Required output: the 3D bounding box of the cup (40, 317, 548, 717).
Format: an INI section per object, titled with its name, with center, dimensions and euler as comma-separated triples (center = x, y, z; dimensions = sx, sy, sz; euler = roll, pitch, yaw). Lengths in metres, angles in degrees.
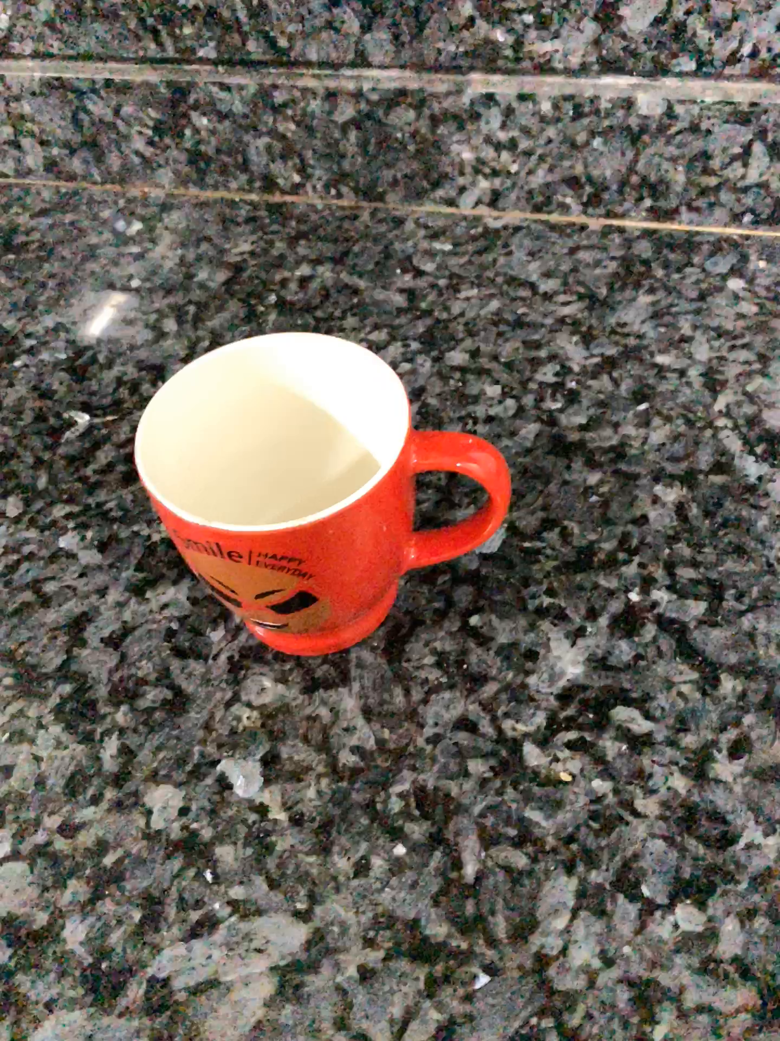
[cup]
center = -0.018, -0.002, 0.225
dimensions = 0.110, 0.069, 0.070
euler = 7, 53, 11
